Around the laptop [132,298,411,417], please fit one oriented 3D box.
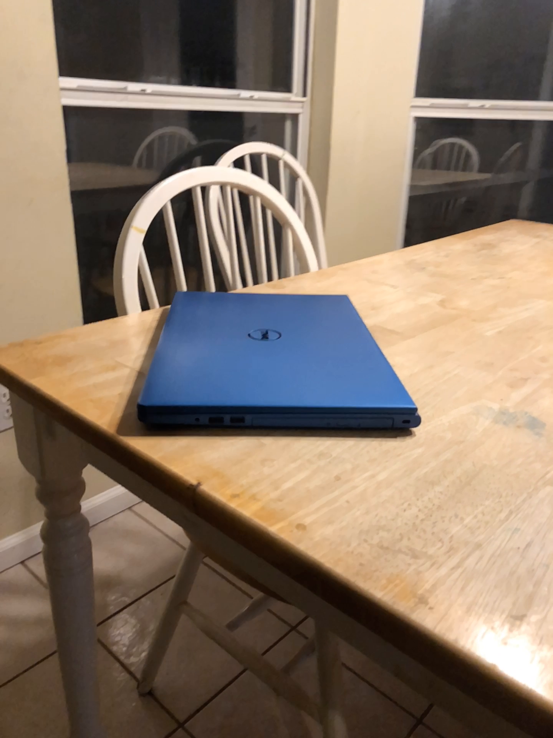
[{"bbox_3d":[-0.014,-0.031,0.742,0.259,0.001,0.390,0,22,-4],"label":"laptop"}]
